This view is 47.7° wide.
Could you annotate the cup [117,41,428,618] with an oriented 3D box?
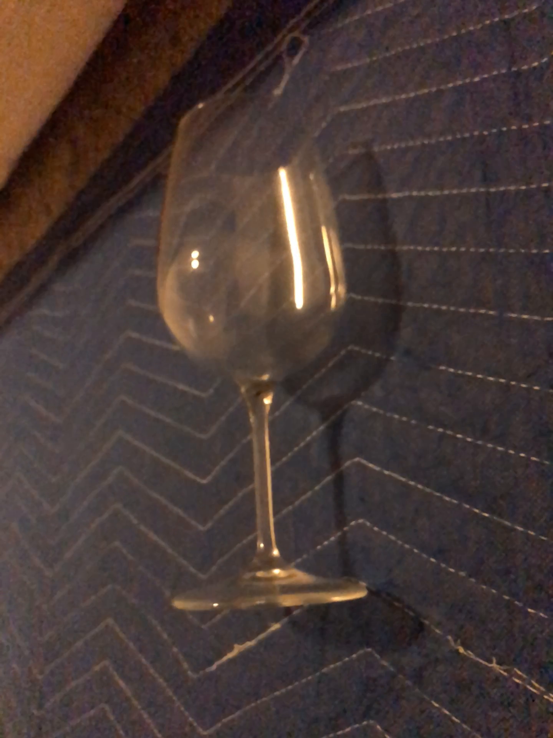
[{"bbox_3d":[-0.007,-0.011,0.271,0.080,0.089,0.210,-21,66,47],"label":"cup"}]
